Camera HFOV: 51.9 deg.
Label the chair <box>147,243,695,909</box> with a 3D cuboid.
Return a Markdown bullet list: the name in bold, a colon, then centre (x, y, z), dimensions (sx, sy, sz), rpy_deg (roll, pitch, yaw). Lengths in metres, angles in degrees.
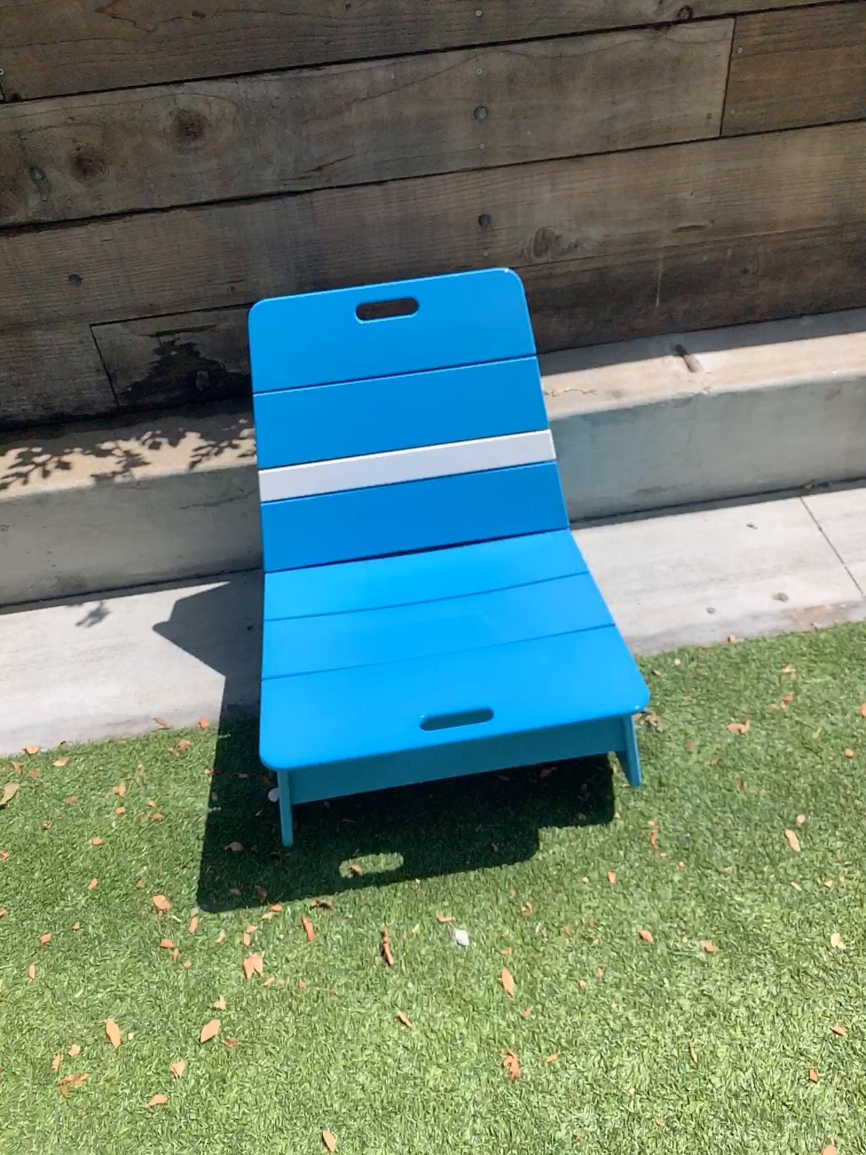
- **chair**: centre (-0.025, 0.002, 1.471), dimensions (0.590, 0.746, 0.724), rpy_deg (-7, 46, -1)
